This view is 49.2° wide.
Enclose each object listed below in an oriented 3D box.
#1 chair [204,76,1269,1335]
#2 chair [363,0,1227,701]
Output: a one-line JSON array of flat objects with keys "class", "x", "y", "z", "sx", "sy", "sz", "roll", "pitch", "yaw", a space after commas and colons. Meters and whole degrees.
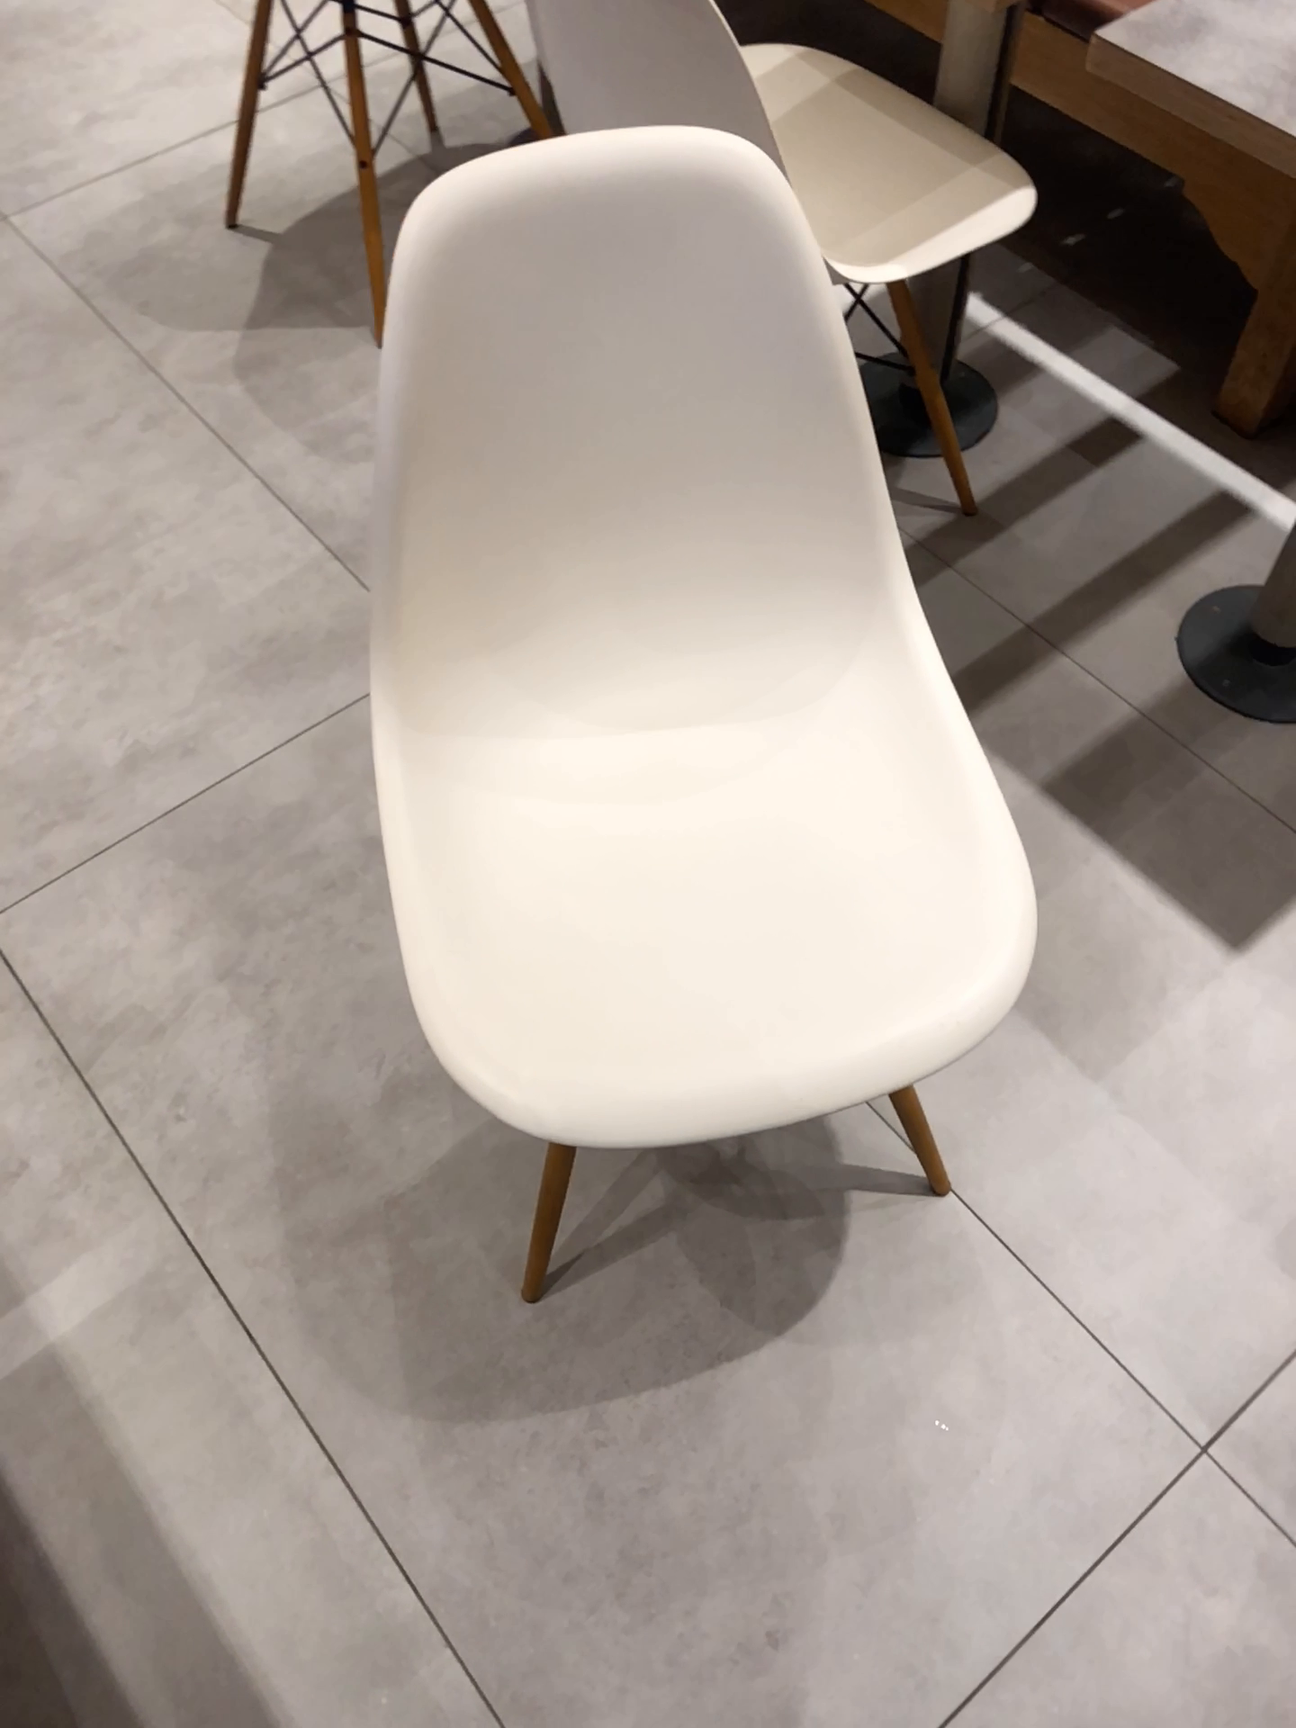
[{"class": "chair", "x": 0.012, "y": -0.060, "z": 1.133, "sx": 0.471, "sy": 0.780, "sz": 0.554, "roll": -12, "pitch": 58, "yaw": -7}, {"class": "chair", "x": 0.125, "y": -0.722, "z": 1.565, "sx": 0.513, "sy": 0.770, "sz": 0.562, "roll": -35, "pitch": 63, "yaw": -20}]
